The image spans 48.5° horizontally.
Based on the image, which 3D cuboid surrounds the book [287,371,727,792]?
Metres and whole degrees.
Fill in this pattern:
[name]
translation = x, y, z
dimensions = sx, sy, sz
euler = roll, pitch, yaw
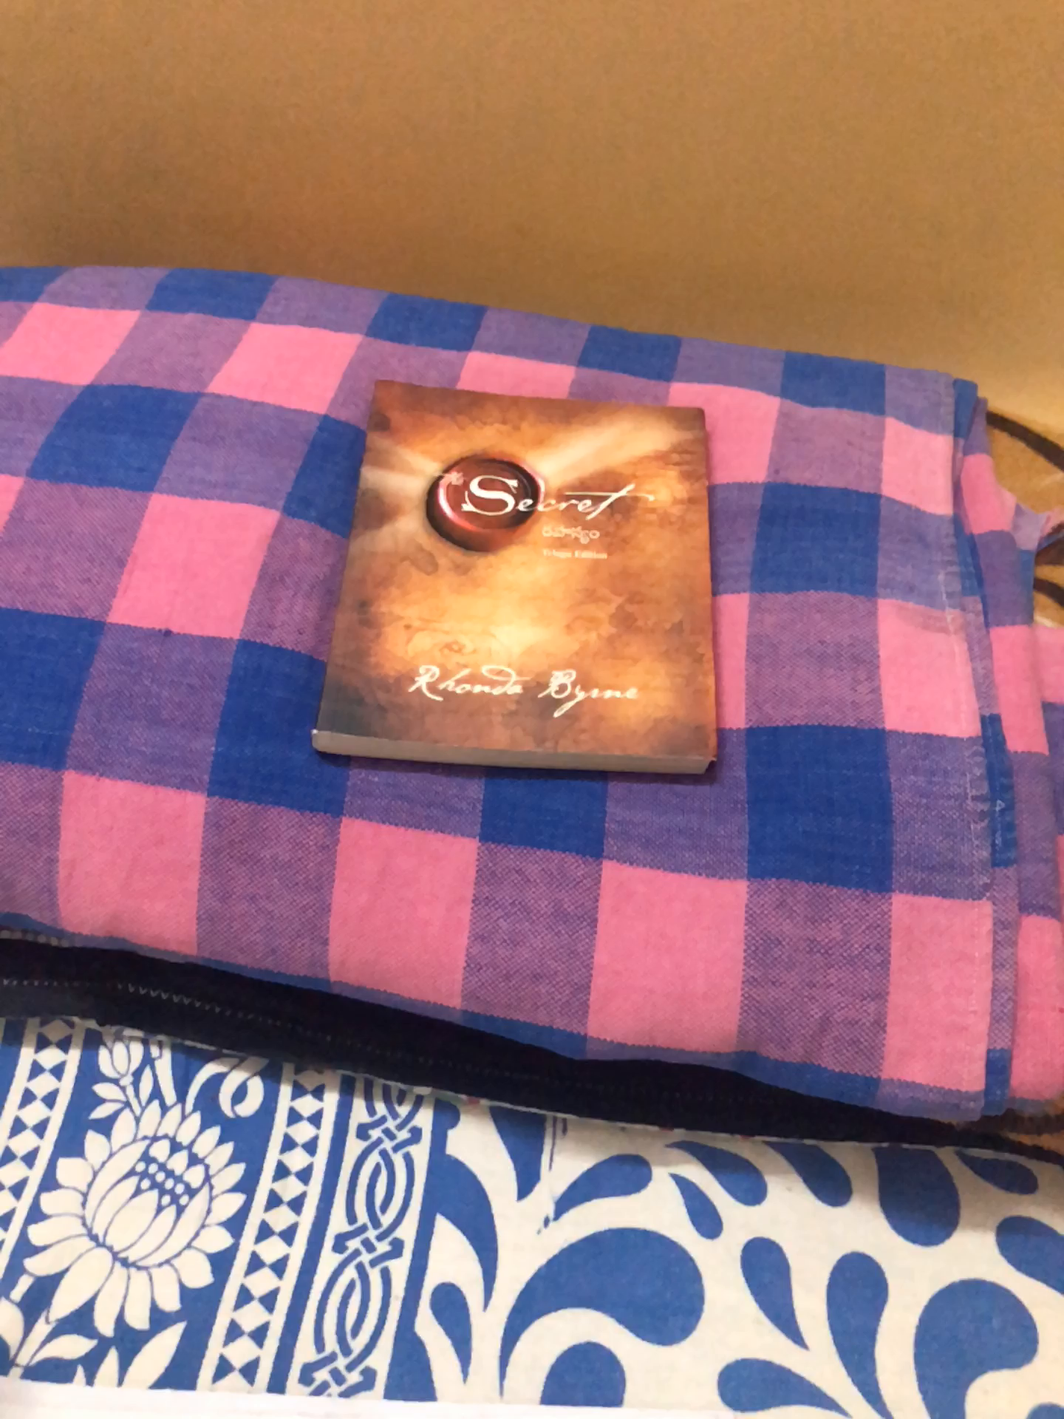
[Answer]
[book]
translation = -0.002, -0.059, 0.463
dimensions = 0.150, 0.020, 0.191
euler = 3, 56, 3
